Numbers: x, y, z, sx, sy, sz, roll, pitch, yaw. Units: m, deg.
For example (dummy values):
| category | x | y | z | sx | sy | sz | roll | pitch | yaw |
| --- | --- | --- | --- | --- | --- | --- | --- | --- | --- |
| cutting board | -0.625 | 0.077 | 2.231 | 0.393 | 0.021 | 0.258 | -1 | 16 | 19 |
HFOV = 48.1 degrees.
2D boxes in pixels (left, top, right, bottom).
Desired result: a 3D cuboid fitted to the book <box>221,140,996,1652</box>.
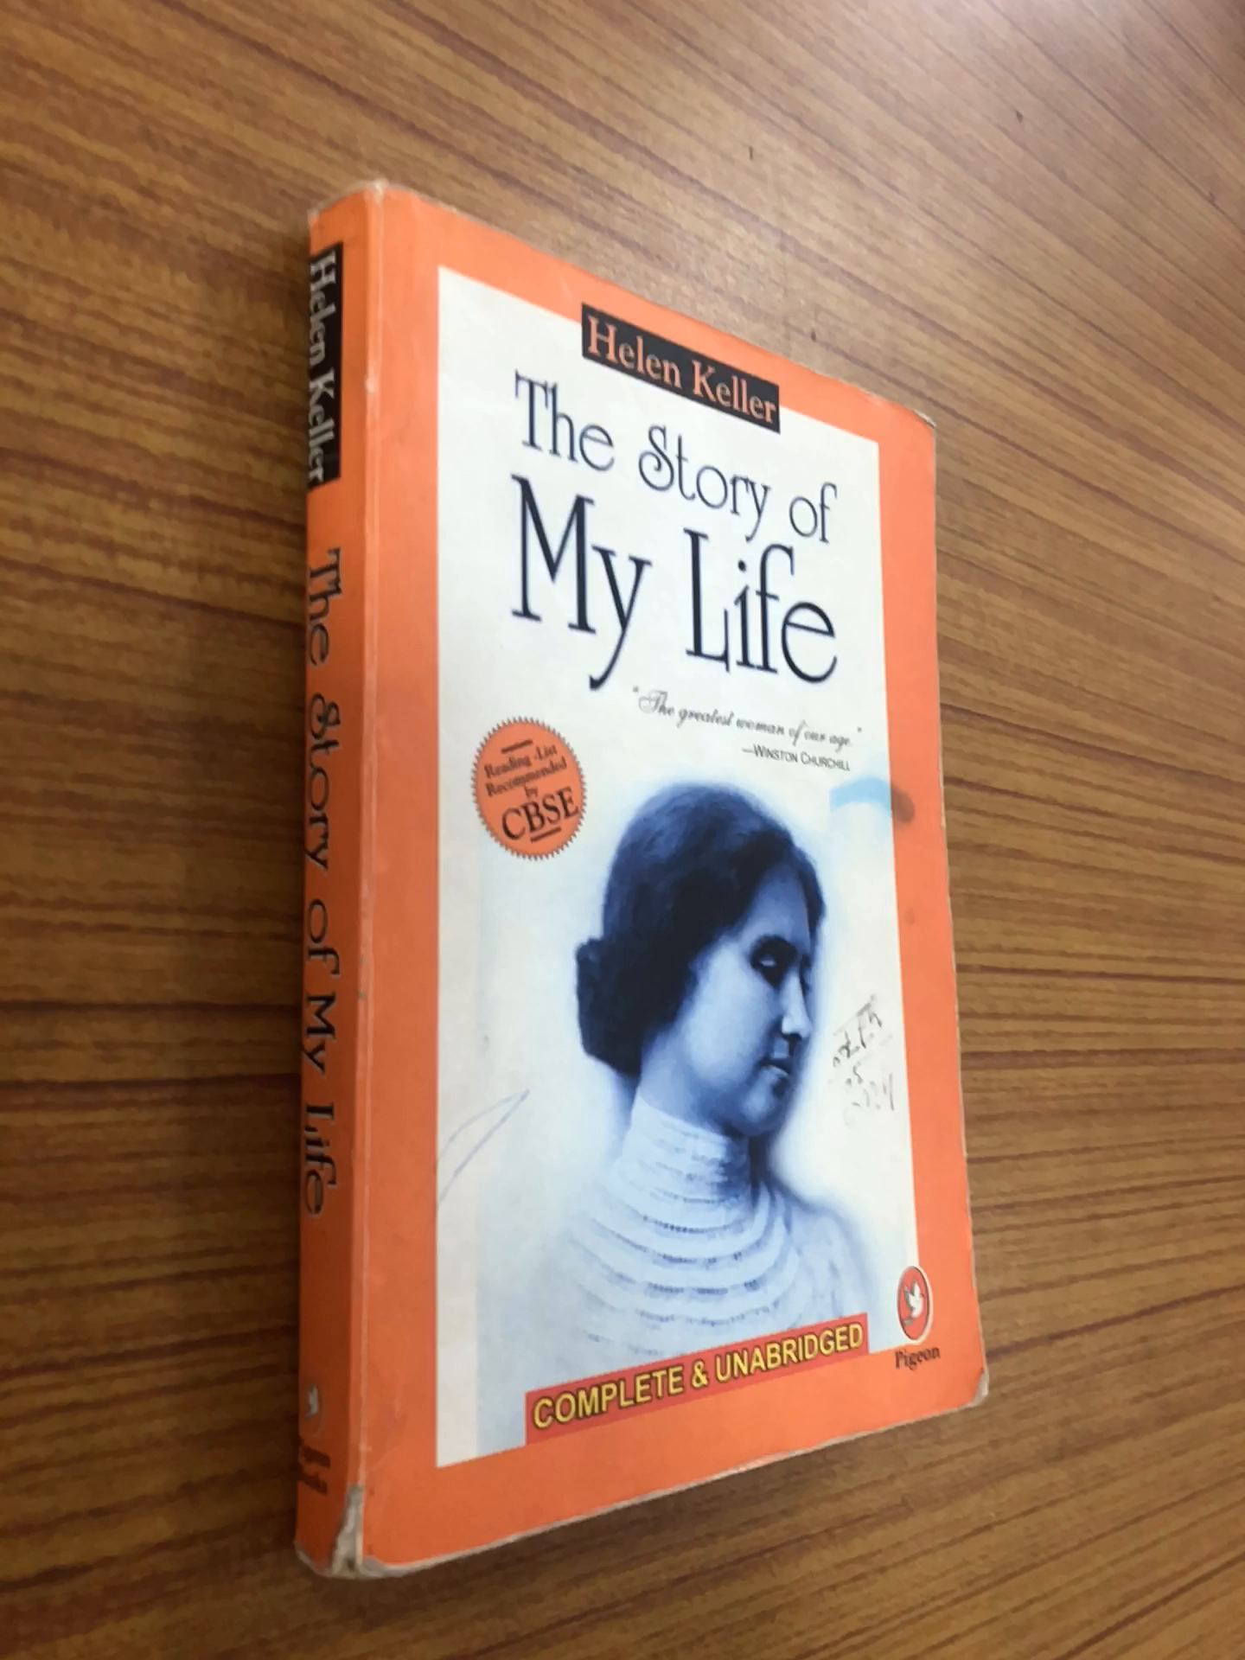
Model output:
| category | x | y | z | sx | sy | sz | roll | pitch | yaw |
| --- | --- | --- | --- | --- | --- | --- | --- | --- | --- |
| book | 0.005 | 0.008 | 0.208 | 0.121 | 0.030 | 0.170 | 6 | 80 | -42 |
